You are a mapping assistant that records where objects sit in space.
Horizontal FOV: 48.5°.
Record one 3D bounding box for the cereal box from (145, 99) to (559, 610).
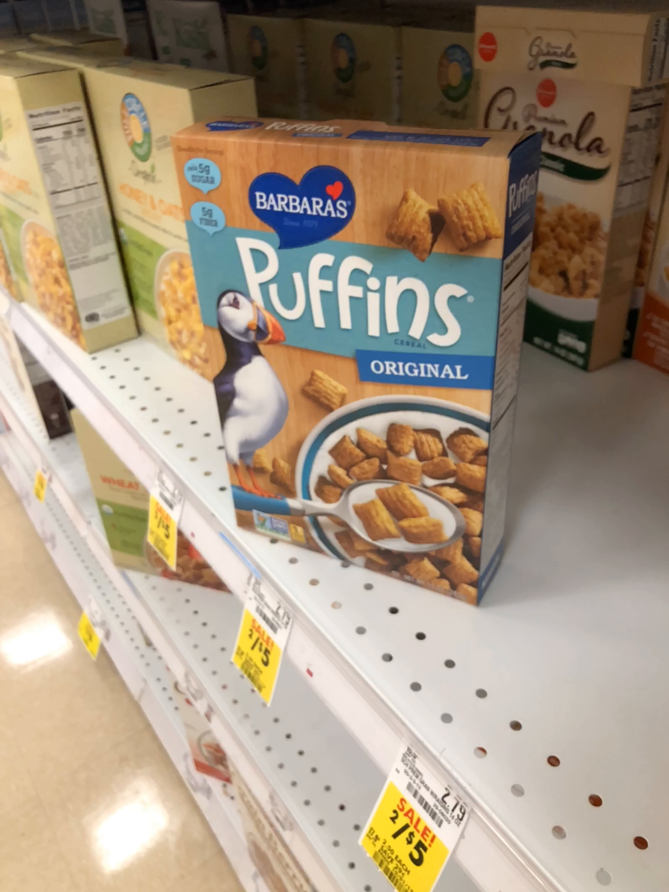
[{"bbox_3d":[0.011,-0.049,0.422,0.190,0.259,0.060,14,38,26],"label":"cereal box"}]
